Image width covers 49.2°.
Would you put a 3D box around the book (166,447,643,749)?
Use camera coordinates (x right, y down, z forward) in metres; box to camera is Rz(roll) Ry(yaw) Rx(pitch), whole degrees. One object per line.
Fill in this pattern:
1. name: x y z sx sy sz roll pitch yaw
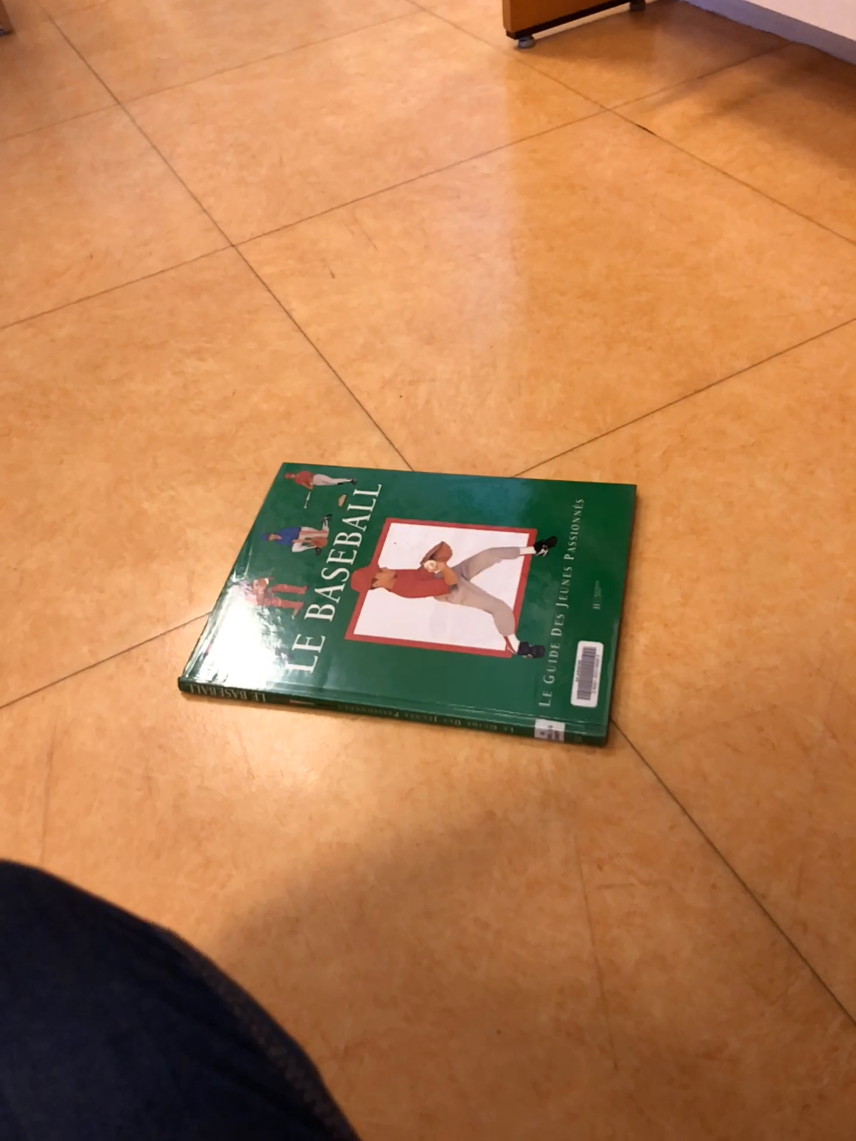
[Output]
1. book: -0.005 0.003 0.636 0.280 0.020 0.220 5 49 13
